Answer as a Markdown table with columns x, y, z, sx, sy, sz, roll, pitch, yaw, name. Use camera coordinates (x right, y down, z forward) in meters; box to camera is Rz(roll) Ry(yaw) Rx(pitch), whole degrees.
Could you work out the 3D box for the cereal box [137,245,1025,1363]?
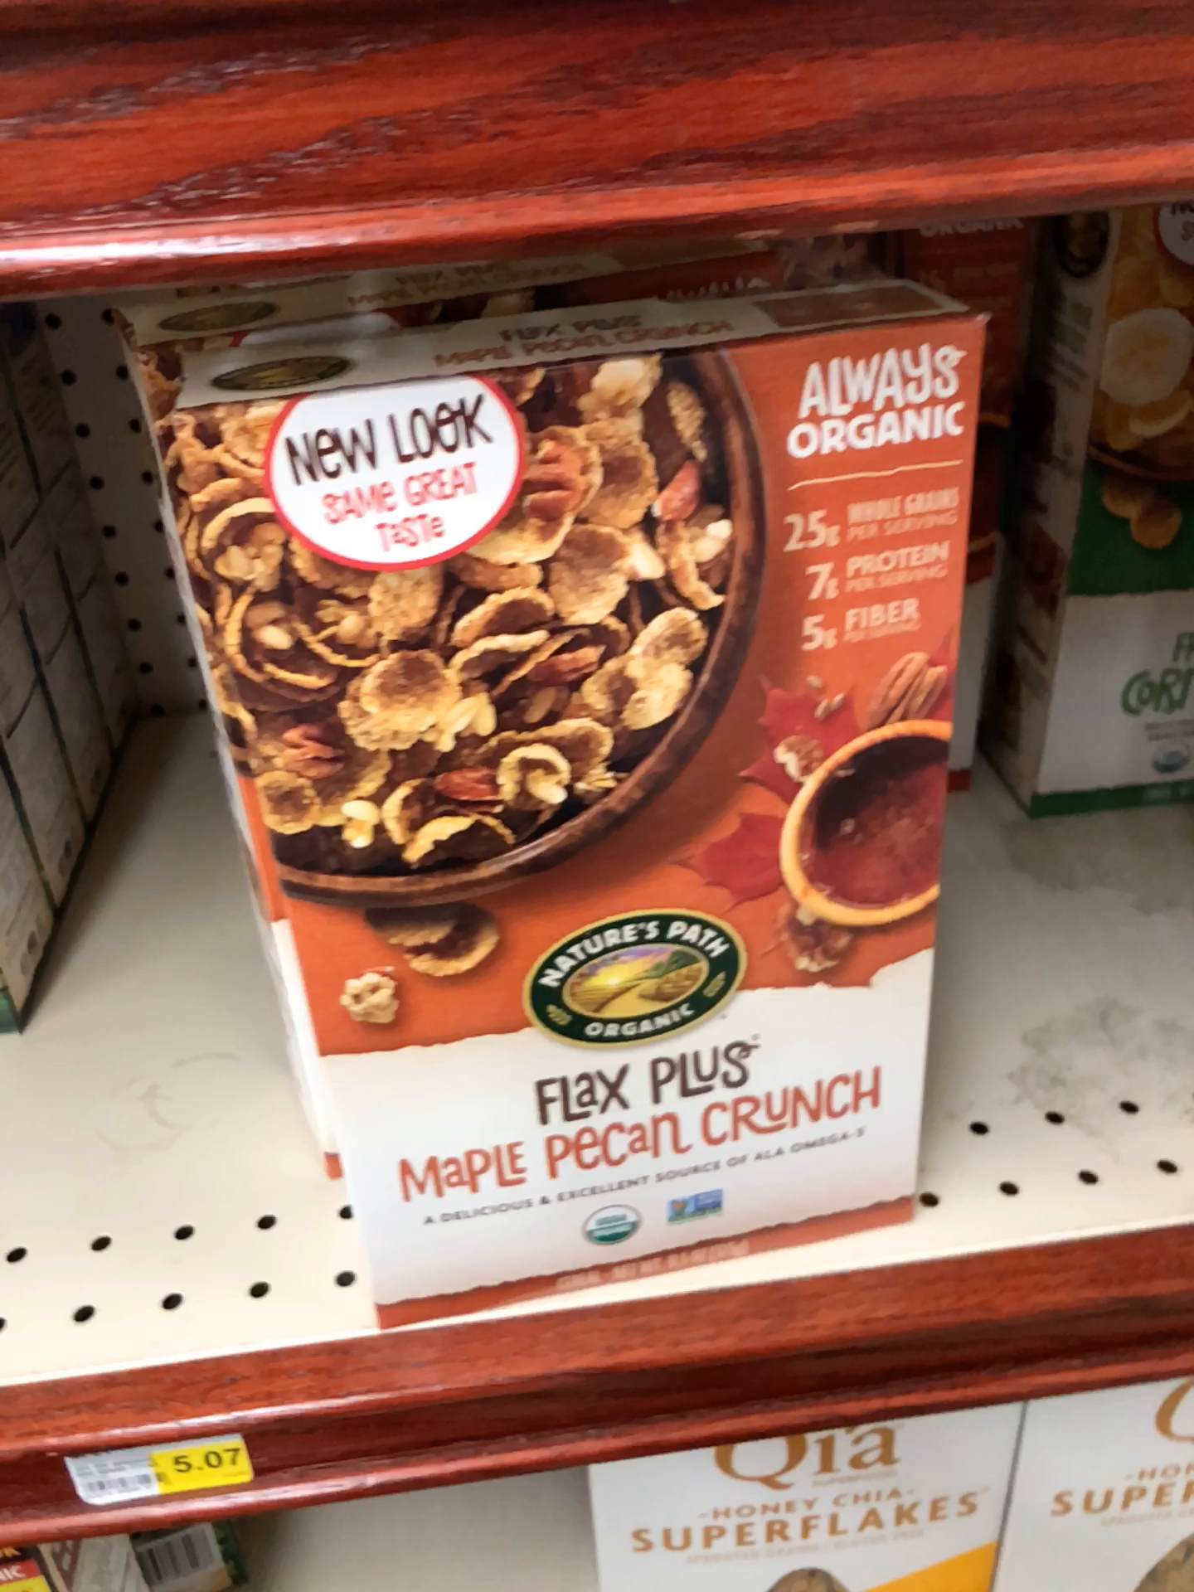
| x | y | z | sx | sy | sz | roll | pitch | yaw | name |
| --- | --- | --- | --- | --- | --- | --- | --- | --- | --- |
| 0.004 | 0.015 | 0.329 | 0.160 | 0.259 | 0.060 | -9 | 32 | -7 | cereal box |
